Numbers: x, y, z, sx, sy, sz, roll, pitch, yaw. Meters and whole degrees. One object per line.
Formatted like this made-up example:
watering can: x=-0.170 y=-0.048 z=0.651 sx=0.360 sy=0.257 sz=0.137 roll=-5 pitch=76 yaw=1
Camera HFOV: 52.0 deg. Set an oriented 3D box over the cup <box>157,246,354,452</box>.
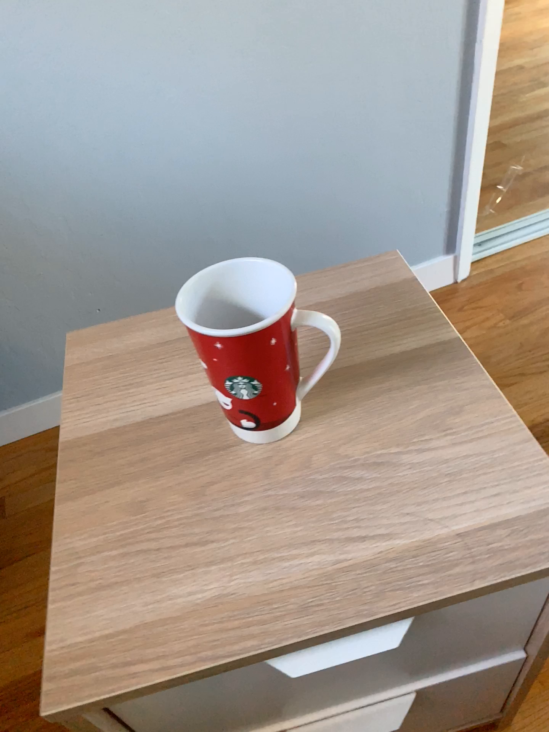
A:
cup: x=-0.005 y=-0.008 z=0.466 sx=0.130 sy=0.149 sz=0.080 roll=-3 pitch=45 yaw=9
